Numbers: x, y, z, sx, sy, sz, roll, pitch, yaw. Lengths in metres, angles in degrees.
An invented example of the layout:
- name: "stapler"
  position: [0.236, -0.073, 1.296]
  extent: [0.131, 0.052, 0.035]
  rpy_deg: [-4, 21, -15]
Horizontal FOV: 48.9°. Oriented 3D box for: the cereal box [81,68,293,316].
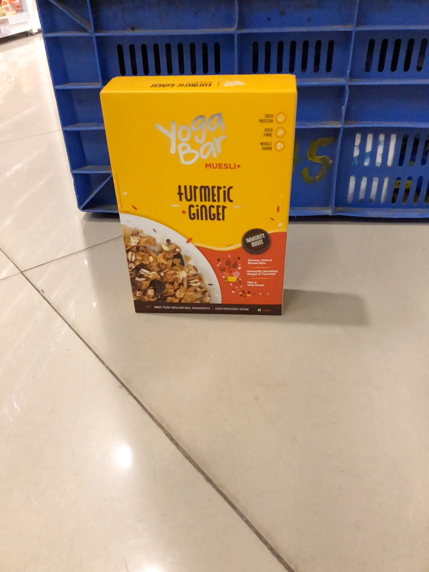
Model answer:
- name: "cereal box"
  position: [-0.018, -0.082, 0.462]
  extent: [0.170, 0.228, 0.060]
  rpy_deg: [1, 34, 5]
